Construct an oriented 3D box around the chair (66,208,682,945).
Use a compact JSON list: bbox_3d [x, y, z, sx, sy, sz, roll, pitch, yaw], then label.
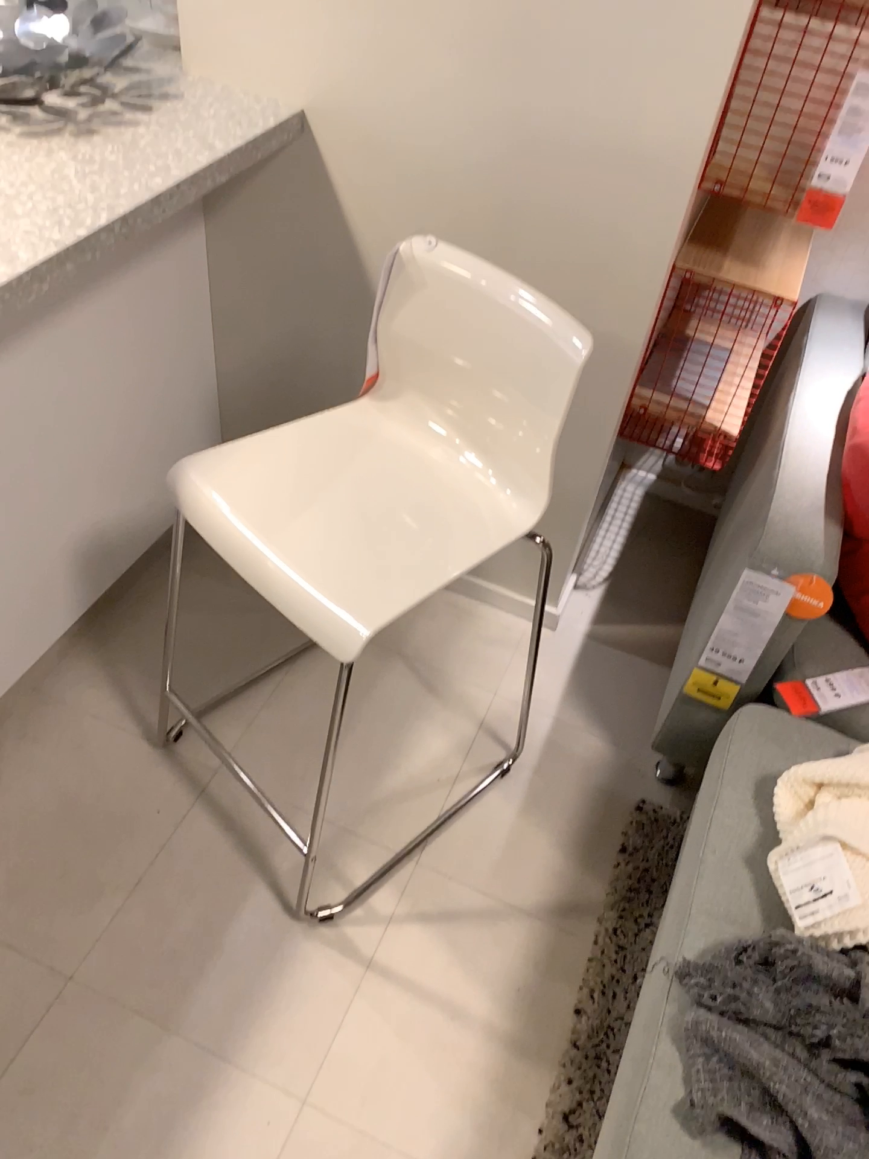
[{"bbox_3d":[-0.118,0.021,1.393,0.542,0.906,0.511,-29,57,-31],"label":"chair"}]
